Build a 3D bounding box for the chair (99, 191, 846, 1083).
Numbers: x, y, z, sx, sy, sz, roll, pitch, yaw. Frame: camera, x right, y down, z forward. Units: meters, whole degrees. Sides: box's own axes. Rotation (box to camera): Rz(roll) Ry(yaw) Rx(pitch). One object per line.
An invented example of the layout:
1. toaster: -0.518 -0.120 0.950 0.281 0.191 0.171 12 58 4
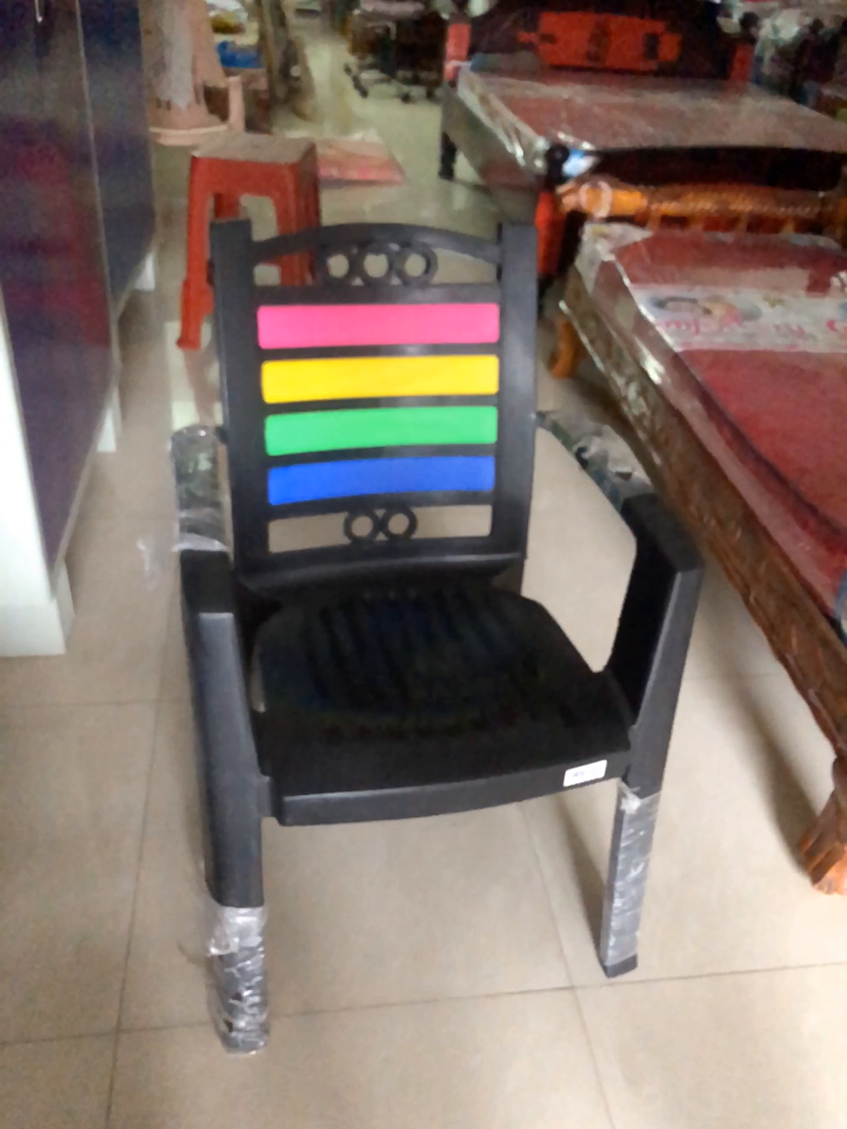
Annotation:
1. chair: -0.028 0.089 1.276 0.641 0.975 0.613 -4 36 -13
